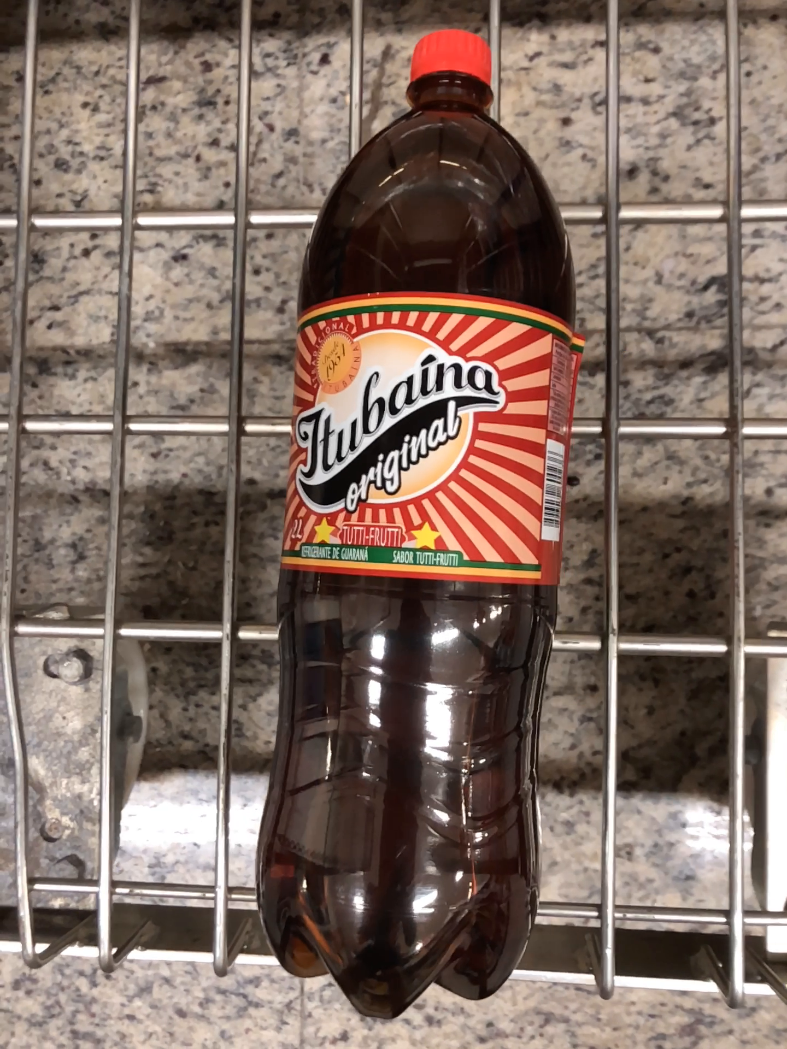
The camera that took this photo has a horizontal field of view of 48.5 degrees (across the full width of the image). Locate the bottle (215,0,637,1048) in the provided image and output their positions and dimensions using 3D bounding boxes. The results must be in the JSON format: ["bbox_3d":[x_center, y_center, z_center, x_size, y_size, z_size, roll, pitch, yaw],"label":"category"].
[{"bbox_3d":[0.011,-0.004,0.287,0.110,0.070,0.320,2,91,6],"label":"bottle"}]
